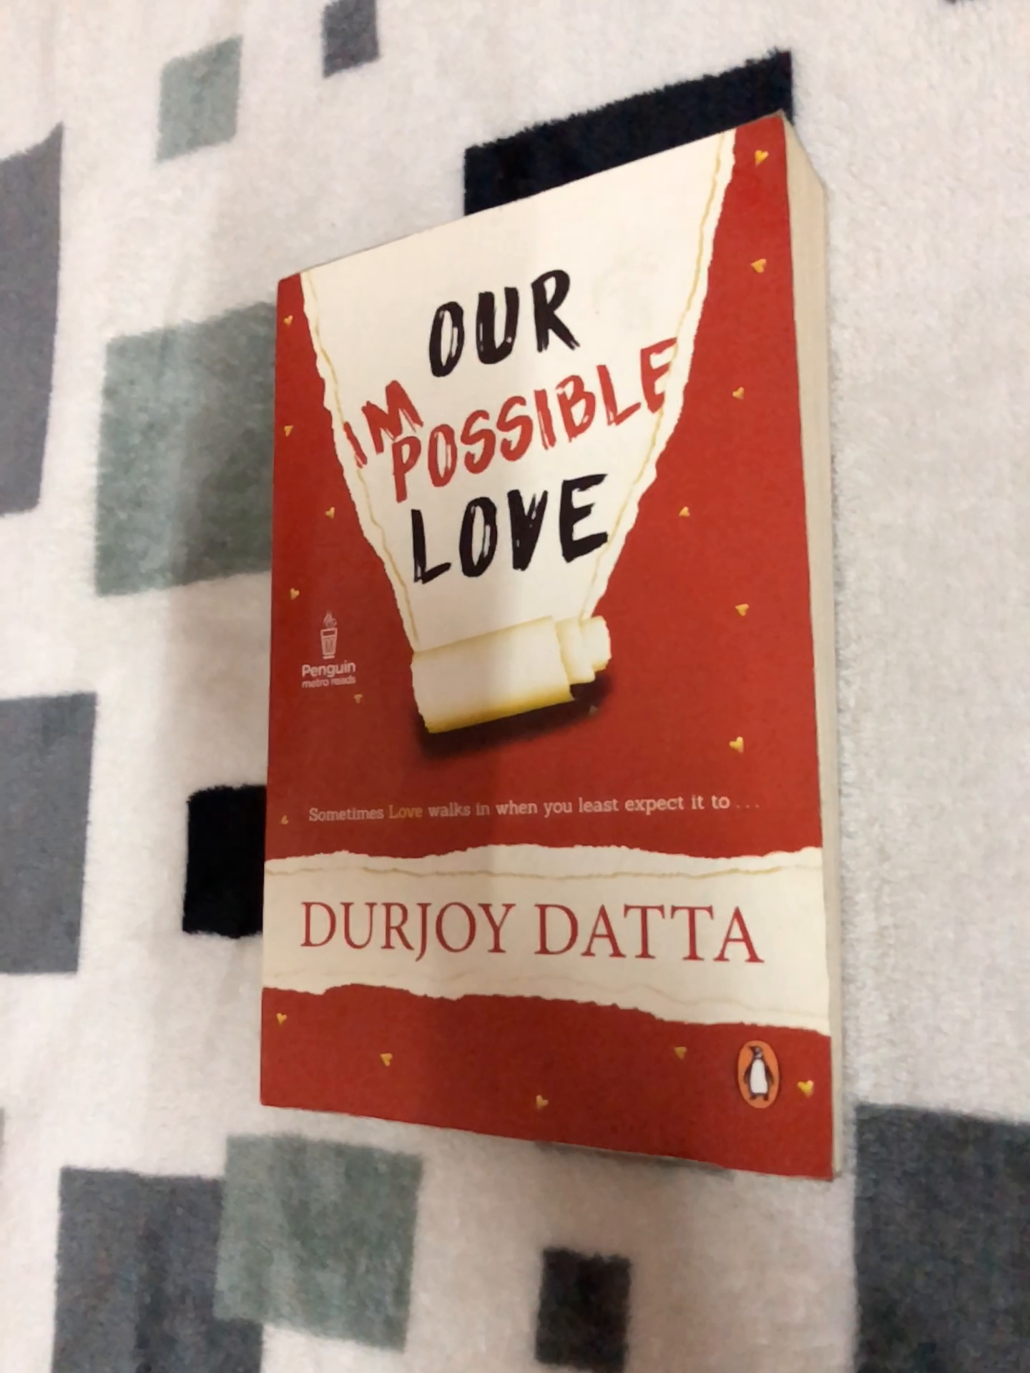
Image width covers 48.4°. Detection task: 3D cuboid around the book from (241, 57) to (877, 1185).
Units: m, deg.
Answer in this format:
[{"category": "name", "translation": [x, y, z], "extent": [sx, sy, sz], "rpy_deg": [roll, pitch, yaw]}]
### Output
[{"category": "book", "translation": [0.002, -0.011, 0.244], "extent": [0.130, 0.030, 0.200], "rpy_deg": [-5, 83, 28]}]
